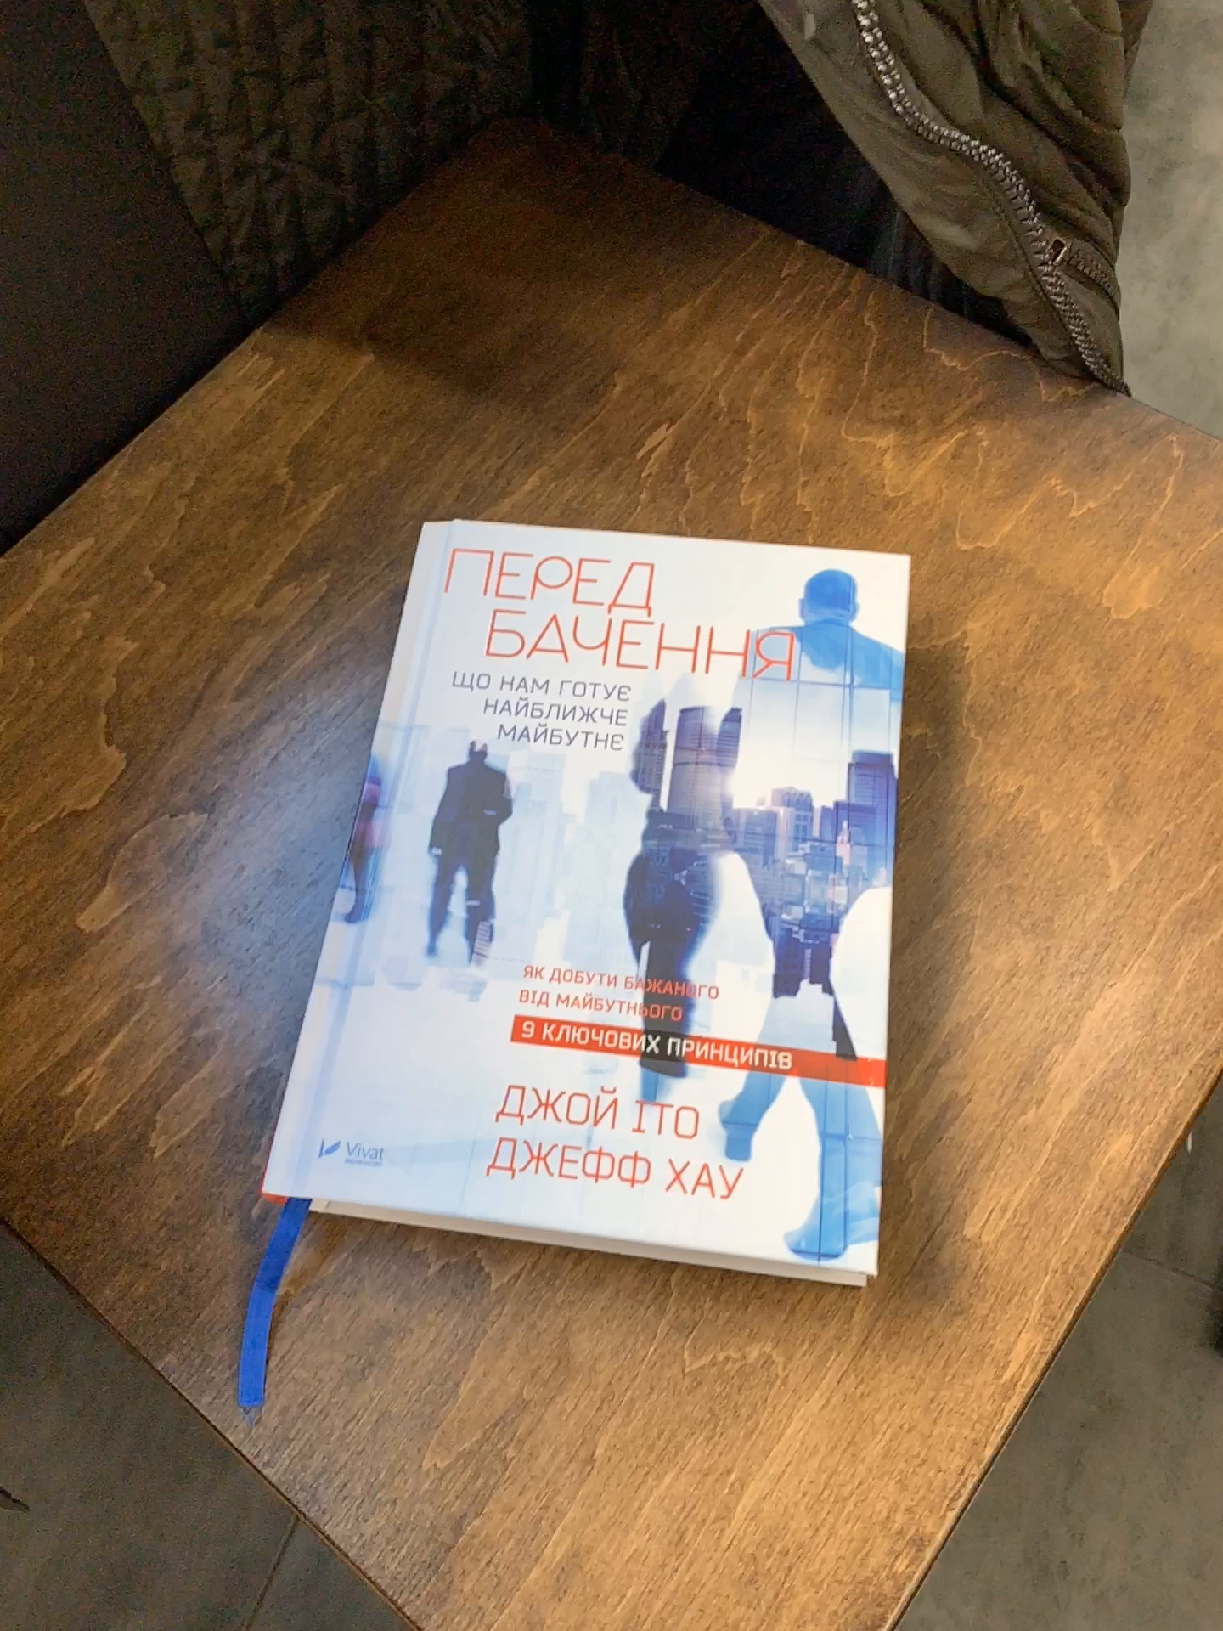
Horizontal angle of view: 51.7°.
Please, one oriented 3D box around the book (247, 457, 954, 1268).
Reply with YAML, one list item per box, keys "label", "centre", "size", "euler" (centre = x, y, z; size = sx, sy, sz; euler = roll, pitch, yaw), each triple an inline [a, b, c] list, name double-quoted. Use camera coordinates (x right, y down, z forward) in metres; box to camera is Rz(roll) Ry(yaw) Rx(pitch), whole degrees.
- label: "book"
  centre: [0.008, 0.002, 0.326]
  size: [0.149, 0.040, 0.196]
  euler: [5, 65, 6]
